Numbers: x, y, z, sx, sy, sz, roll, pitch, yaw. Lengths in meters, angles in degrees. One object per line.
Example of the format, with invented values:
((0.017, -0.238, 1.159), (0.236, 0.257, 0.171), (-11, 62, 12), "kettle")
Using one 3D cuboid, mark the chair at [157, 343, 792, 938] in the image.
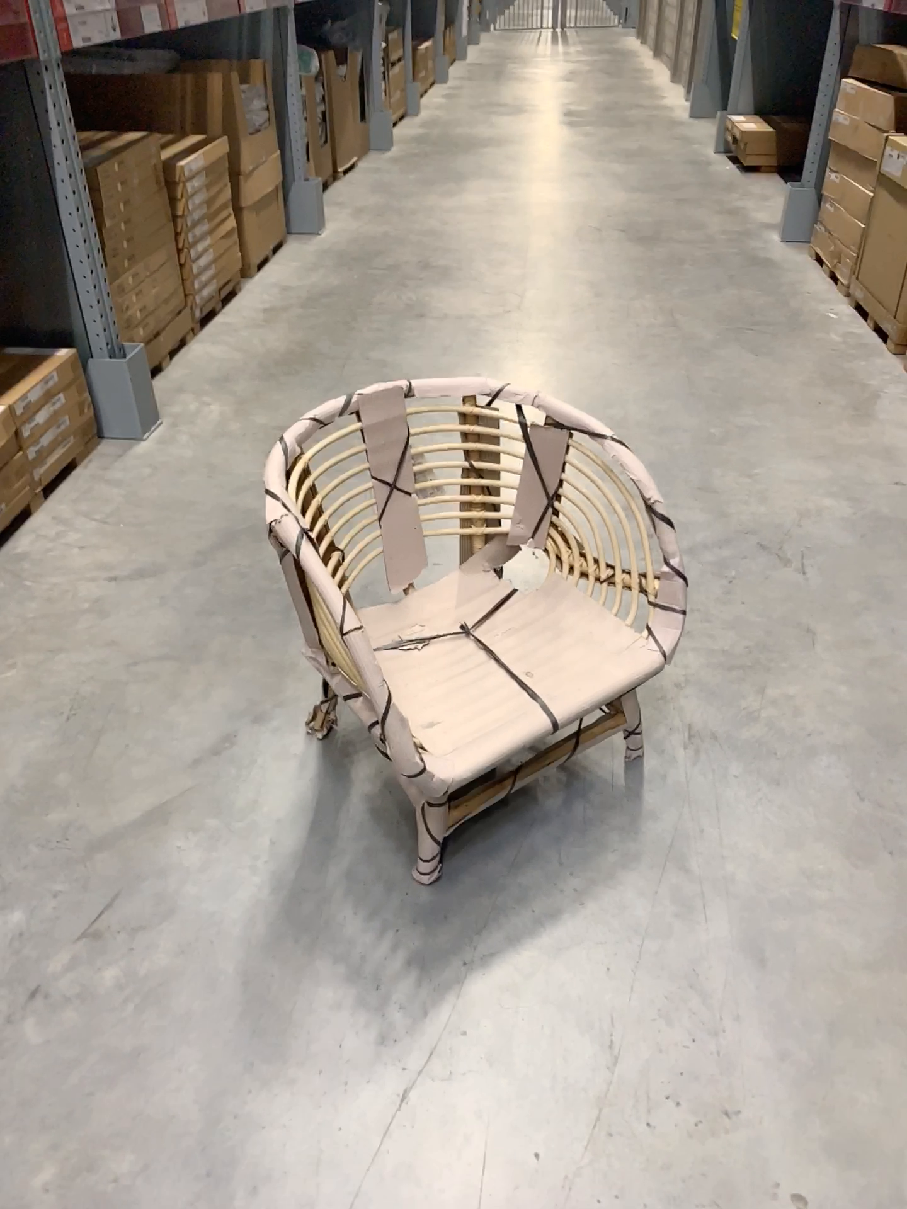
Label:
((0.011, -0.023, 1.689), (0.751, 0.567, 0.762), (-23, 40, -28), "chair")
